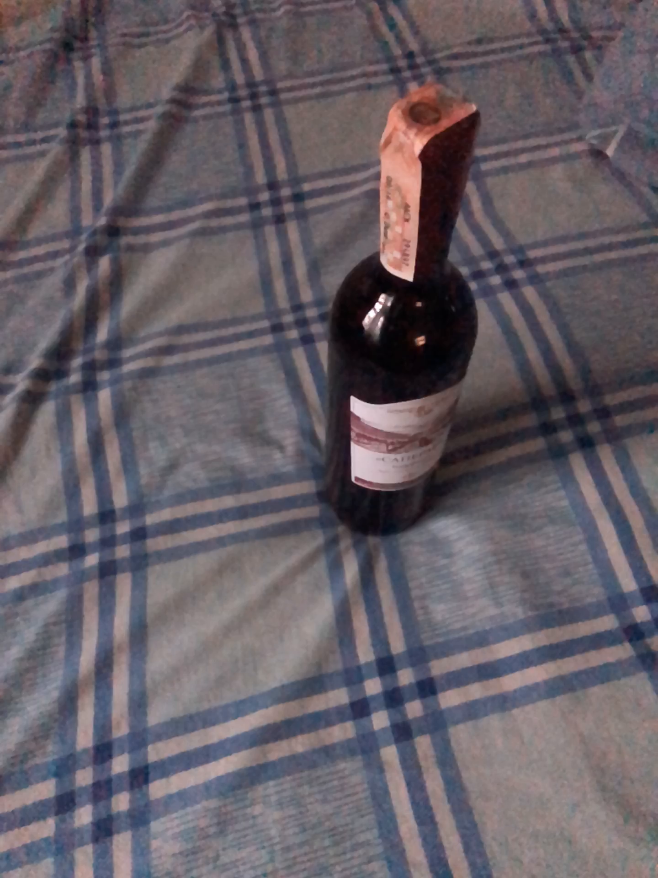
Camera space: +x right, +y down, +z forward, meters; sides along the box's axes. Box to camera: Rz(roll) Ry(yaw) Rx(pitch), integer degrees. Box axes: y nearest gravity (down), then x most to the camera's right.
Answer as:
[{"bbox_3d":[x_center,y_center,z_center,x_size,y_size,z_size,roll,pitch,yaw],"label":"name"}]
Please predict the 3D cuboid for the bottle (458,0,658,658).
[{"bbox_3d":[0.107,-0.006,0.266,0.081,0.305,0.071,9,58,9],"label":"bottle"}]
